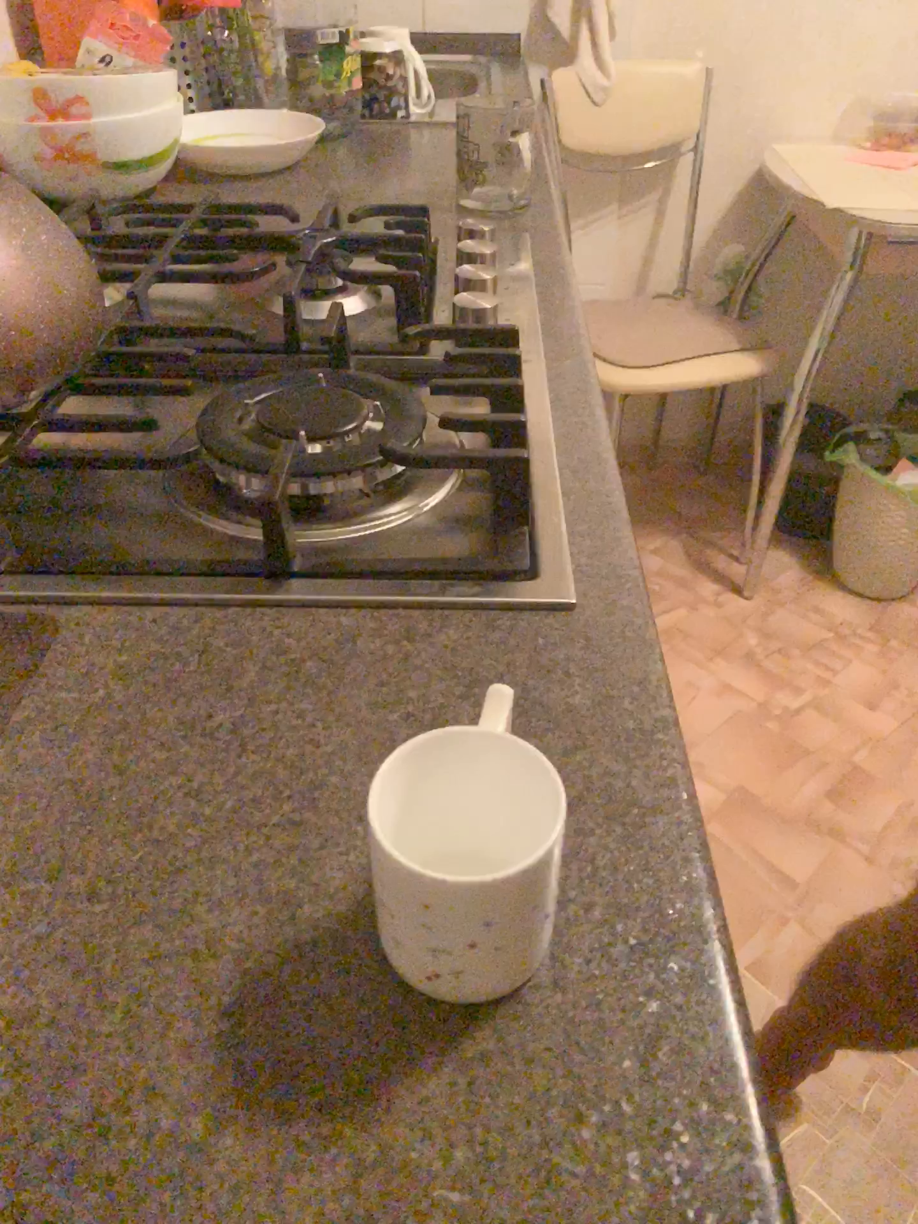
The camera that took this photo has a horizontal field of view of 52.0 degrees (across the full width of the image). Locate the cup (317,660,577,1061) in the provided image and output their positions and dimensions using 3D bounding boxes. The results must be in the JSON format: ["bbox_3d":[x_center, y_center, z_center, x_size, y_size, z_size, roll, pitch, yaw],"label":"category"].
[{"bbox_3d":[0.001,0.074,0.296,0.060,0.069,0.091,6,38,8],"label":"cup"}]
